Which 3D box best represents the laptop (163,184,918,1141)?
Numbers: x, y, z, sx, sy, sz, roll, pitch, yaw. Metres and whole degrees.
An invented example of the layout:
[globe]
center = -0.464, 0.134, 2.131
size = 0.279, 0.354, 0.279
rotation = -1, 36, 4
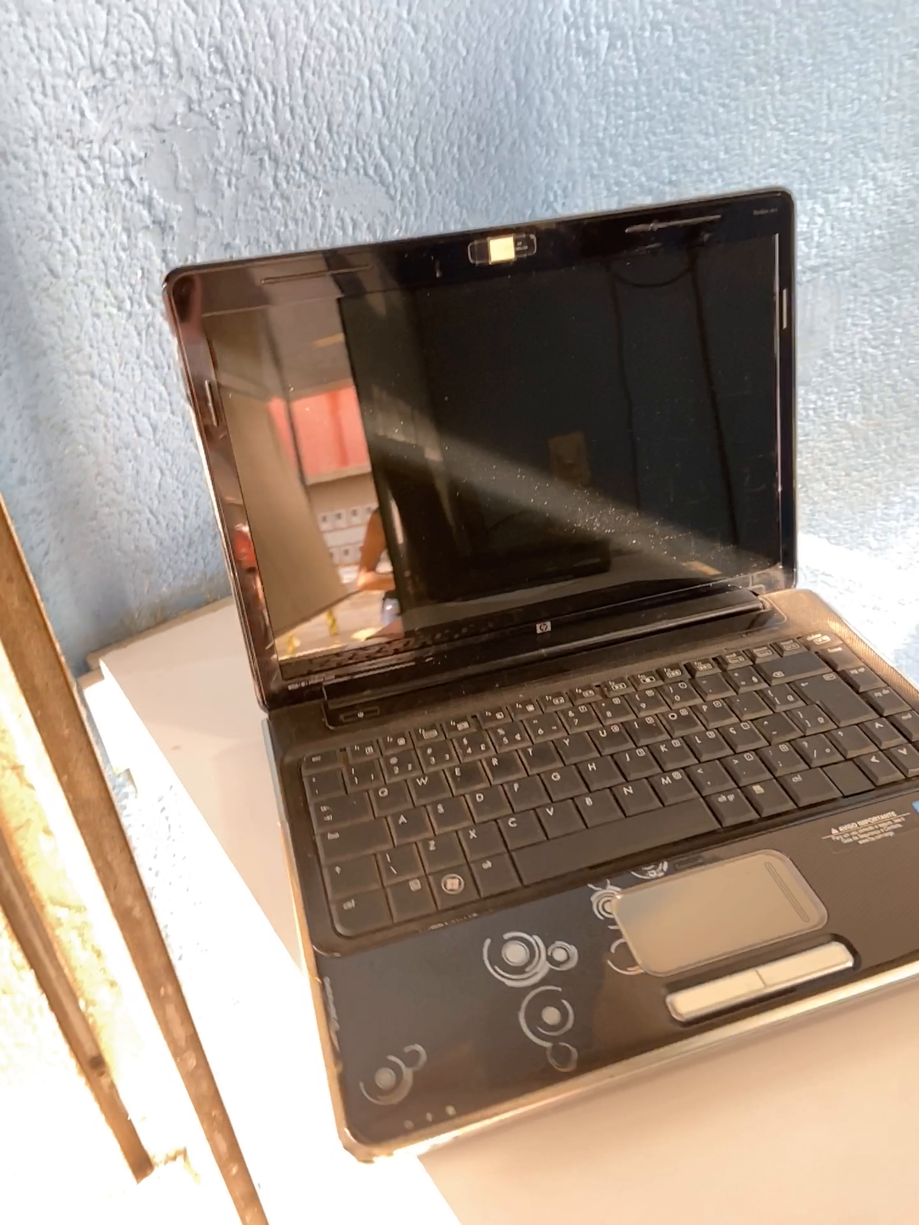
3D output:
[laptop]
center = 0.066, -0.026, 0.412
size = 0.321, 0.210, 0.303
rotation = -12, 36, -12
